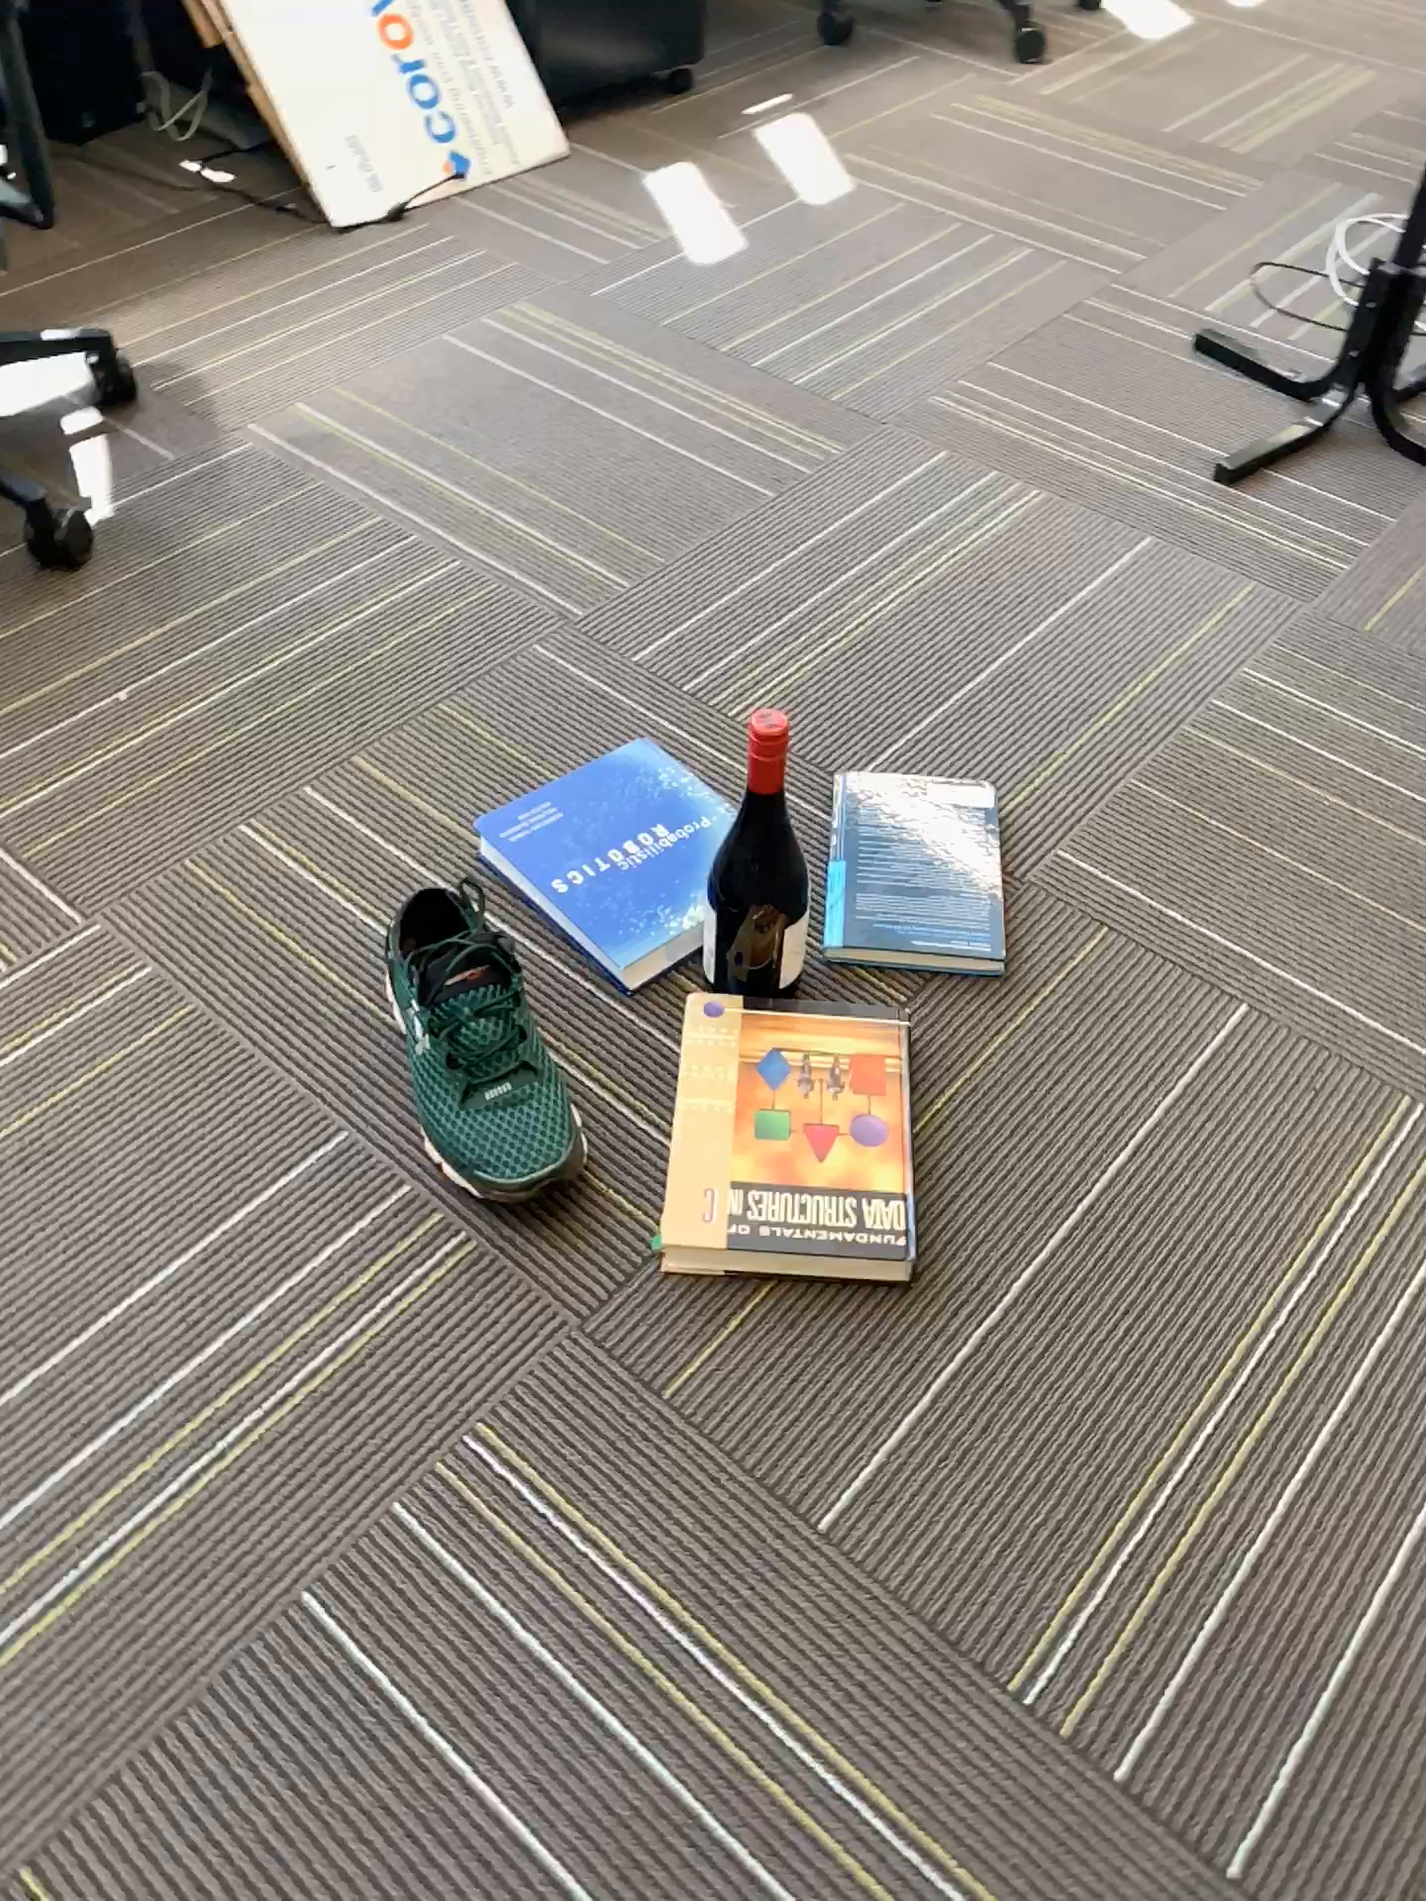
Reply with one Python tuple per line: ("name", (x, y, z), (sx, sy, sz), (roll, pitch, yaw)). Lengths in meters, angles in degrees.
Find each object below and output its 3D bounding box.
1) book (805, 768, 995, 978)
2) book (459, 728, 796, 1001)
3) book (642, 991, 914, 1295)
("book", (0.167, -0.074, 1.291), (0.156, 0.034, 0.222), (3, 48, 6))
("book", (-0.077, -0.085, 1.293), (0.193, 0.041, 0.231), (-33, 57, -27))
("book", (0.053, 0.139, 1.097), (0.188, 0.041, 0.231), (4, 48, 2))
